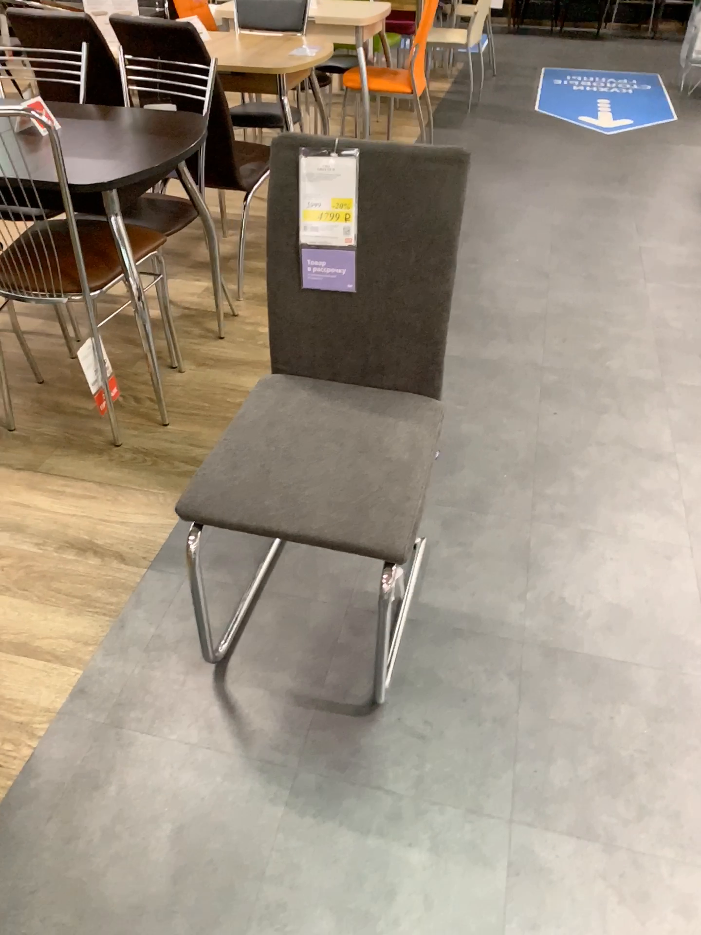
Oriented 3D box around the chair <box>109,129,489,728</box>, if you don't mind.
[{"bbox_3d":[-0.042,-0.051,1.395,0.435,0.974,0.542,10,40,11],"label":"chair"}]
